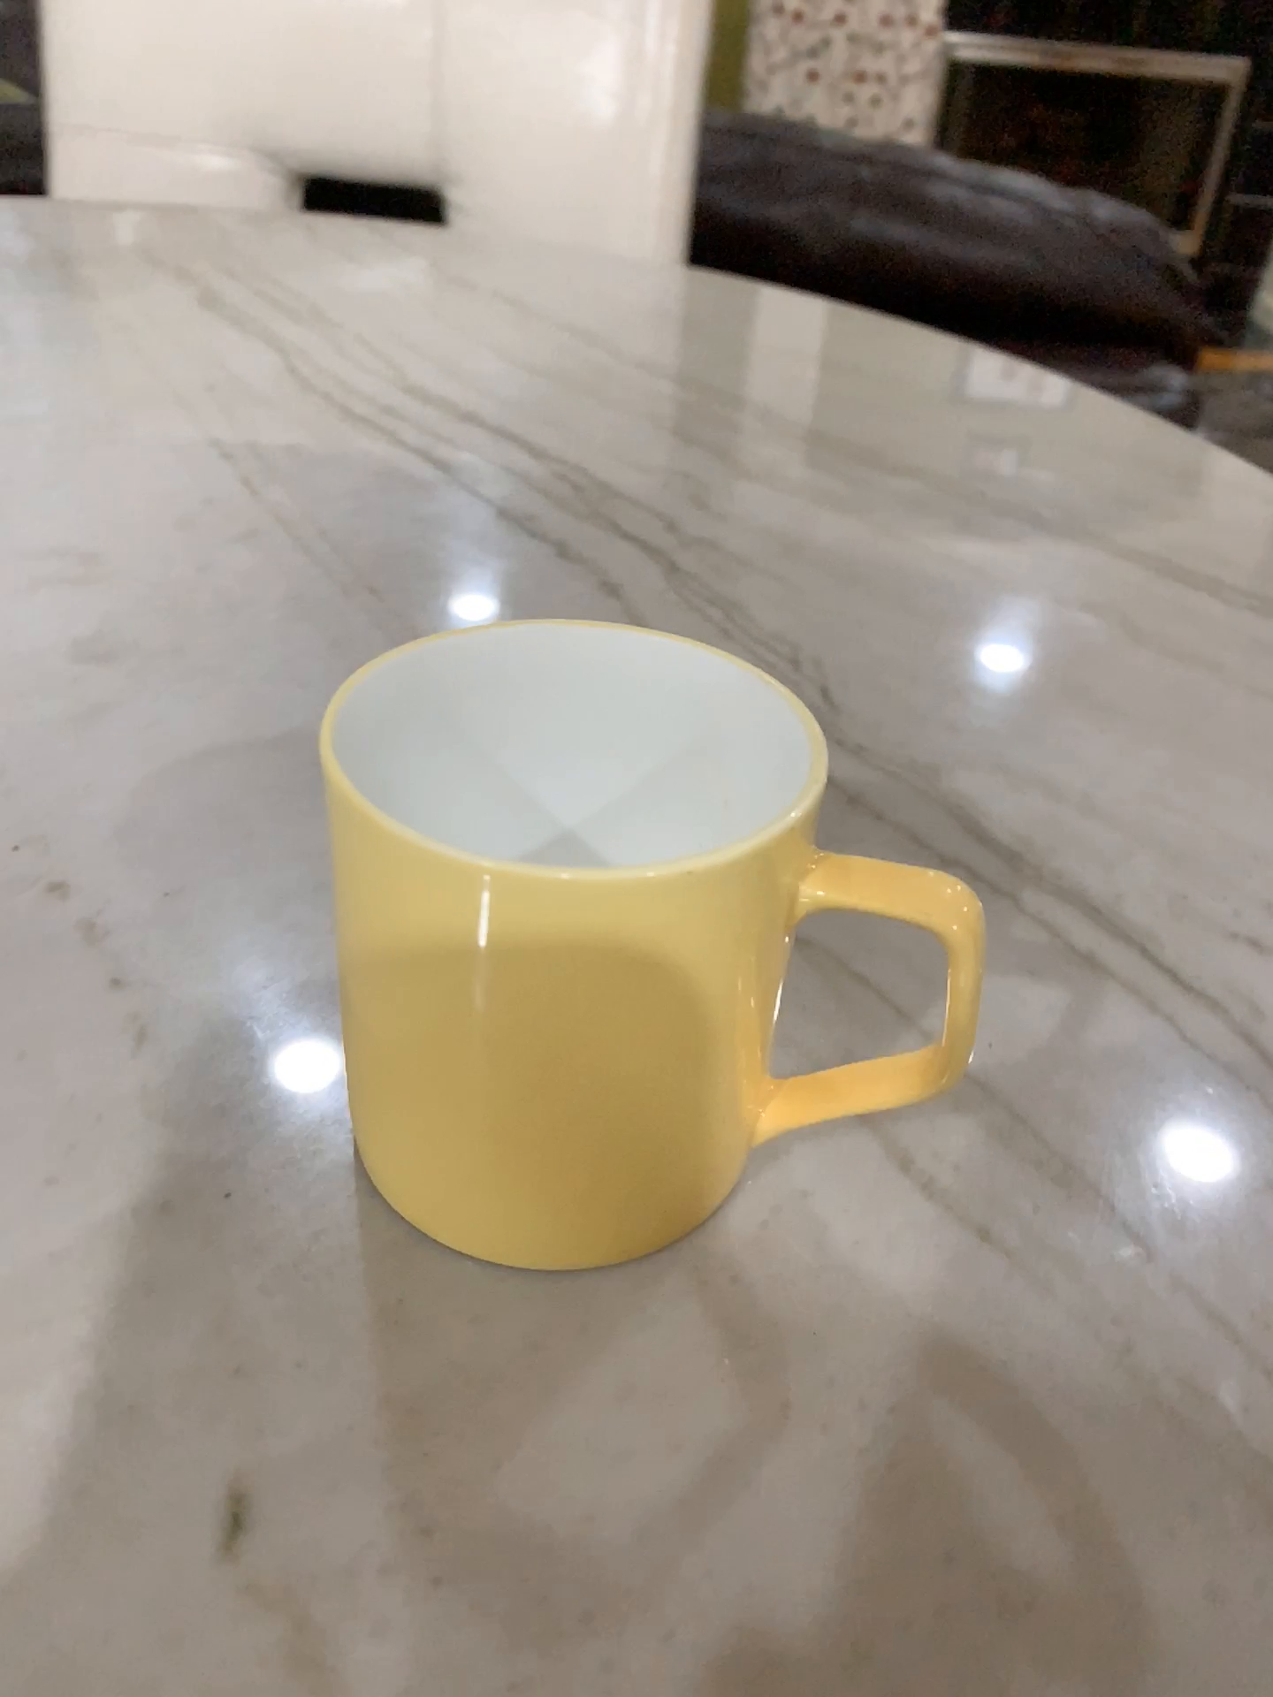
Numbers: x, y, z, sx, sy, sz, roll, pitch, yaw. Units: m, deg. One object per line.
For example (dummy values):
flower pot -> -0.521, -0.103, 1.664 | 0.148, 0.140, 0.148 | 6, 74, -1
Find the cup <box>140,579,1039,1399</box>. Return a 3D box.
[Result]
cup -> -0.003, 0.016, 0.208 | 0.109, 0.074, 0.075 | 13, 35, 11
